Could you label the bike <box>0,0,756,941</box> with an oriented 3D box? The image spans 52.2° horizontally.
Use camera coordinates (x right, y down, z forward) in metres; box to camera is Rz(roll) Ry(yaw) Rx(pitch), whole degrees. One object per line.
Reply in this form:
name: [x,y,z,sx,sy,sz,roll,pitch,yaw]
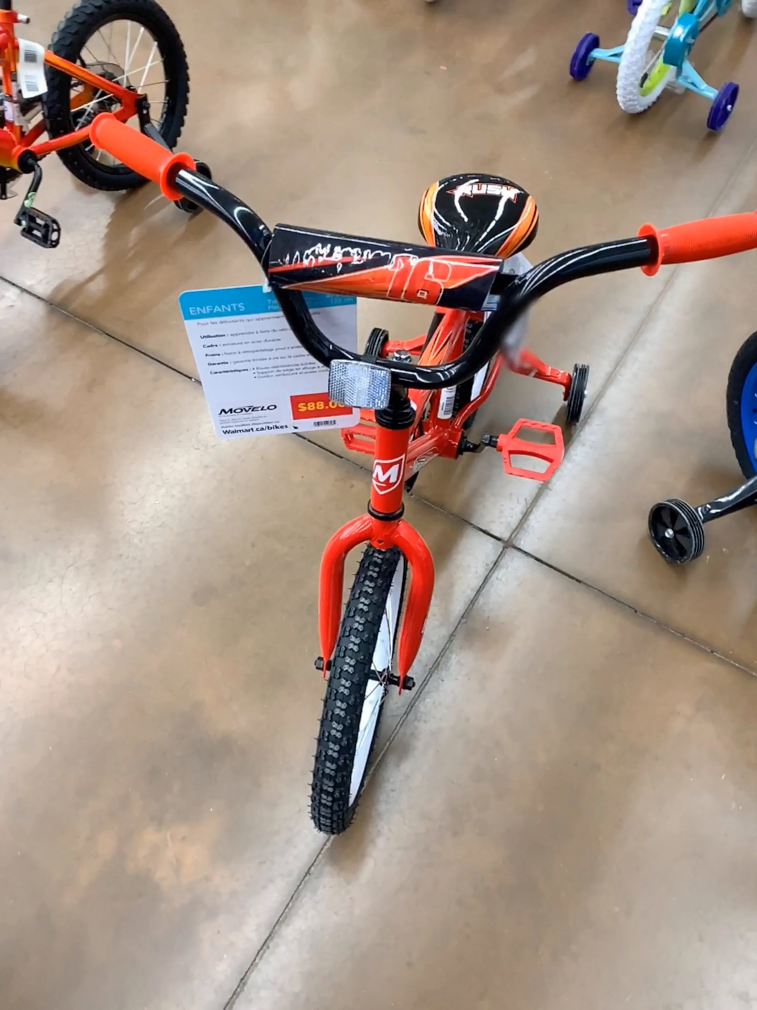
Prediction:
bike: [0.108,-0.160,1.045,0.515,0.955,1.145,12,54,8]
